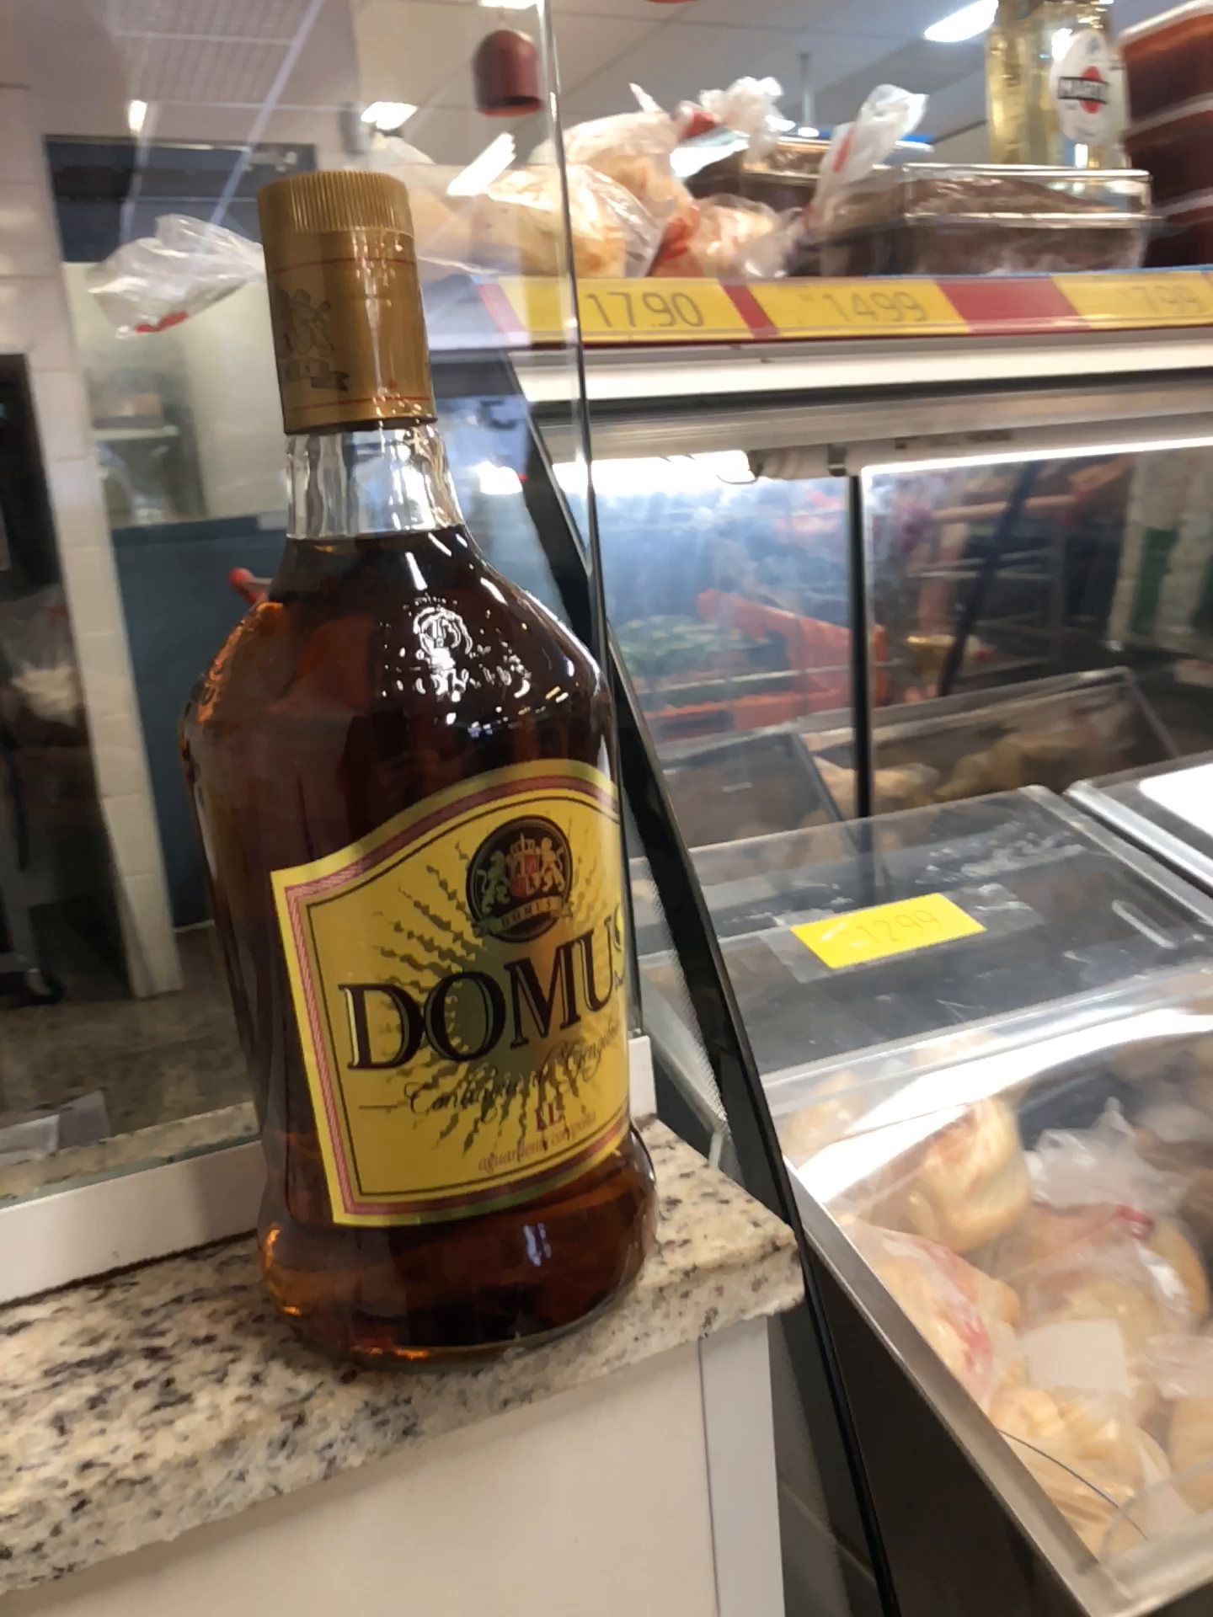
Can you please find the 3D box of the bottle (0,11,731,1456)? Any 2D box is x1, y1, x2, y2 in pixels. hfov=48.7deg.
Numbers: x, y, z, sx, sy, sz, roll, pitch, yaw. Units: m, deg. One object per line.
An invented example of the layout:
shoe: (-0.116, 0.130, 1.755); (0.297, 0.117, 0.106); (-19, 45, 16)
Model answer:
bottle: (-0.055, -0.016, 0.310); (0.100, 0.259, 0.110); (-5, 12, 1)
